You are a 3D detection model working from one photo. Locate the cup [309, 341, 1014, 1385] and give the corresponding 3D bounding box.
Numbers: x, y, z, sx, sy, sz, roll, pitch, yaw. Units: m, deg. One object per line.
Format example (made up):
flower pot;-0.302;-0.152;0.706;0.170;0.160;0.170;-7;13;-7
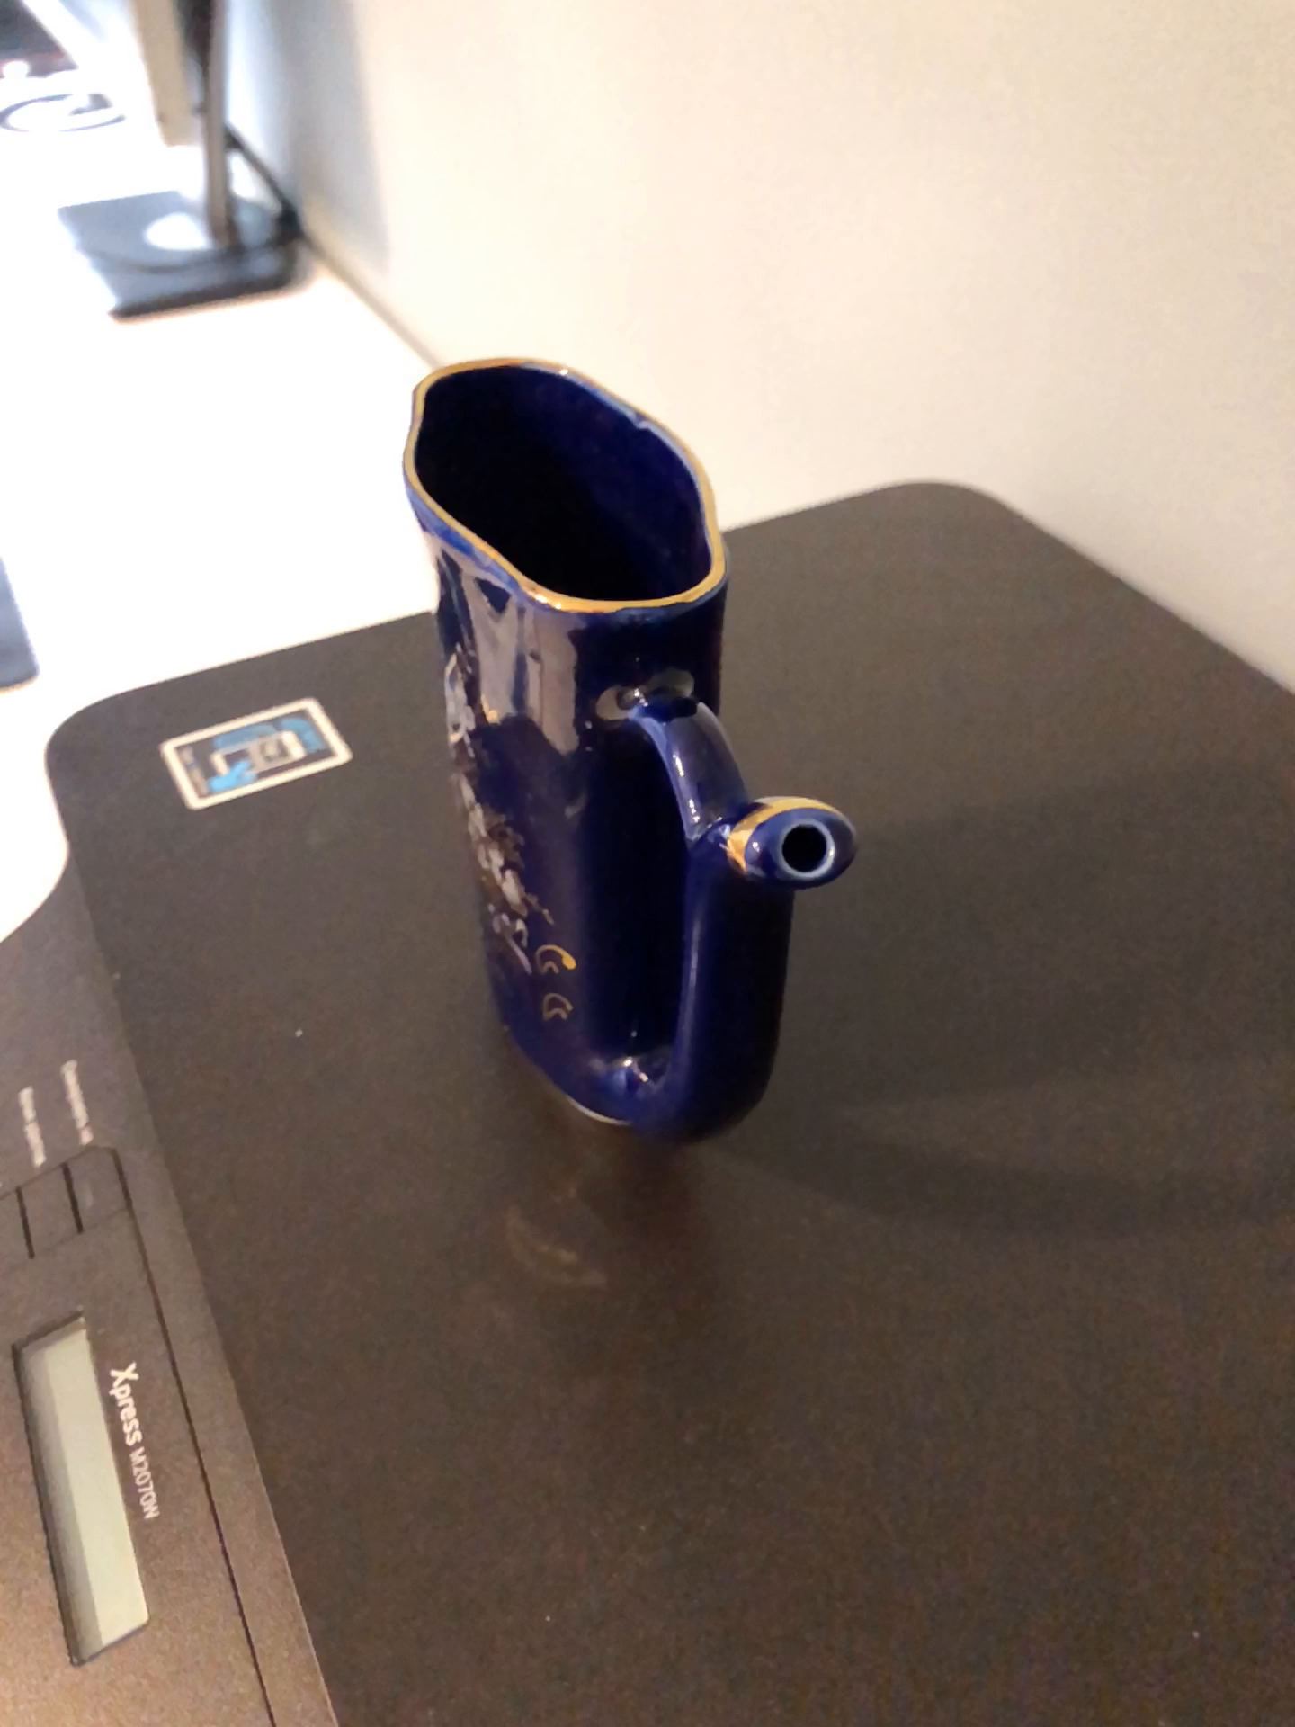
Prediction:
cup;-0.006;-0.006;0.242;0.050;0.109;0.131;-18;44;-17
